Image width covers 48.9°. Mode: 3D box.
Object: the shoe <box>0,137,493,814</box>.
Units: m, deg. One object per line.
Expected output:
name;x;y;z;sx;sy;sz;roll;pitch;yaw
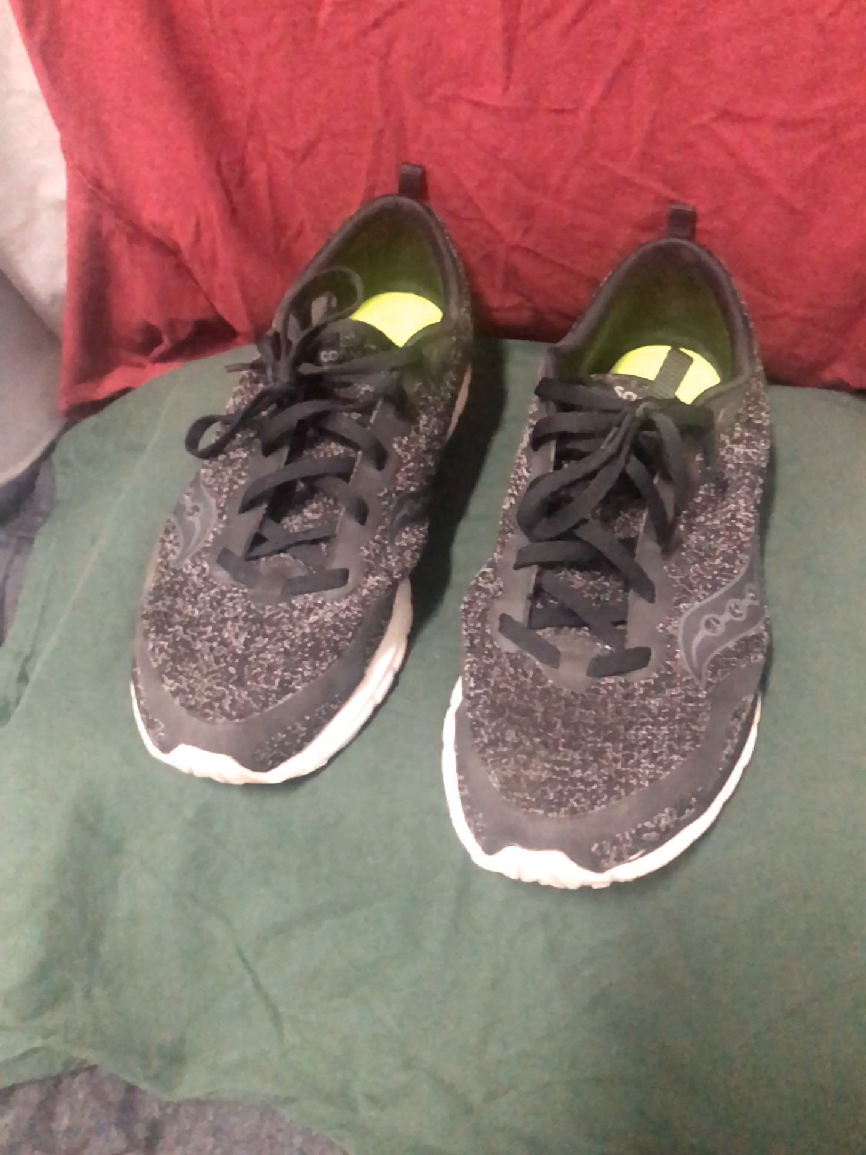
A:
shoe;-0.064;-0.060;0.395;0.120;0.099;0.272;8;55;13

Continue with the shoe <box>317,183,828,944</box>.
shoe;0.067;-0.024;0.355;0.120;0.099;0.262;10;55;14
